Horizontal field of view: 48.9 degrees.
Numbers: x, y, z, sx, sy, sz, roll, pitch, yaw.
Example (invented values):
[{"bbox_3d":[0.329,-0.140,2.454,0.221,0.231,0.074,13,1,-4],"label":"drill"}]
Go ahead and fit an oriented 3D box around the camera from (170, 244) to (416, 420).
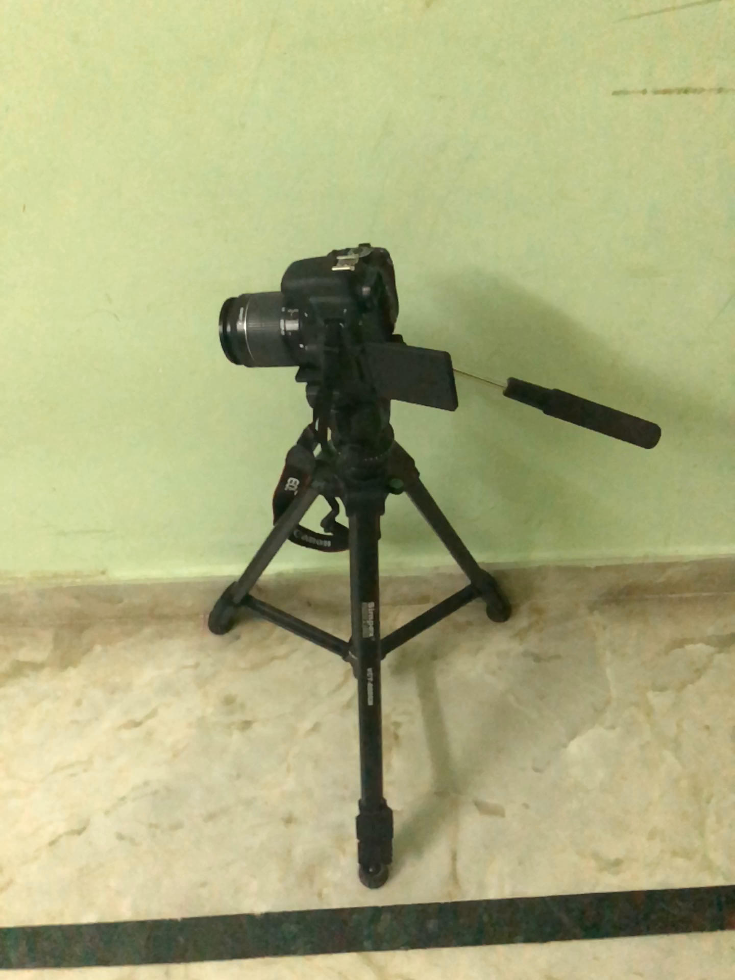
[{"bbox_3d":[-0.059,-0.145,0.745,0.190,0.099,0.131,1,46,9],"label":"camera"}]
